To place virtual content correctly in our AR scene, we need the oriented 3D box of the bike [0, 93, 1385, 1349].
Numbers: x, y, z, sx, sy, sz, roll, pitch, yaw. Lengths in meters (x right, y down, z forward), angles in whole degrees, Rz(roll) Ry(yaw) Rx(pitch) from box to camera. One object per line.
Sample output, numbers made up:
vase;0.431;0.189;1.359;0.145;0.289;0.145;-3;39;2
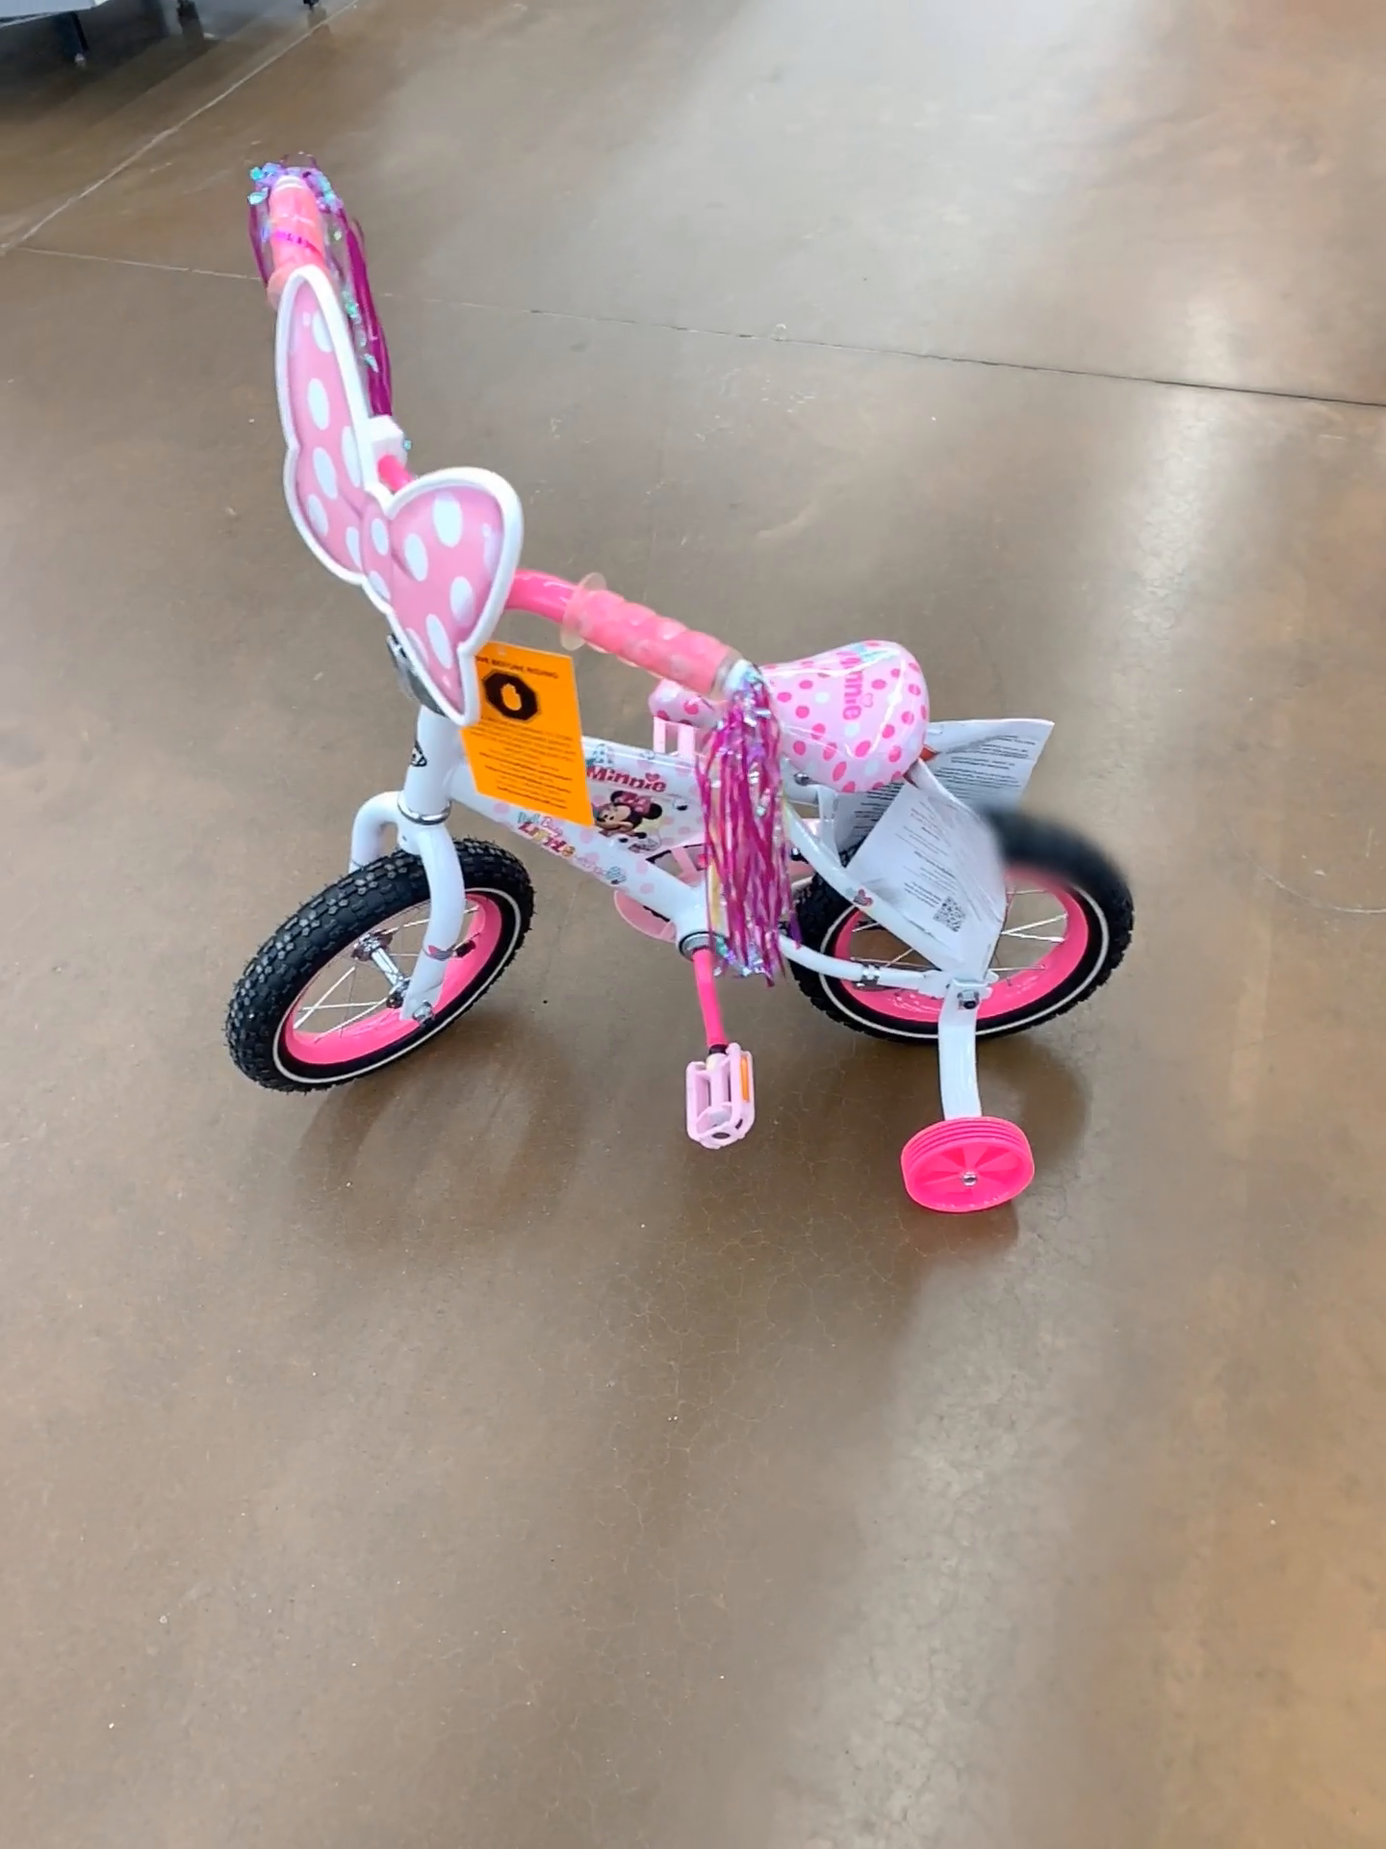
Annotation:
bike;-0.024;-0.090;1.076;0.776;0.707;0.429;-9;49;1
